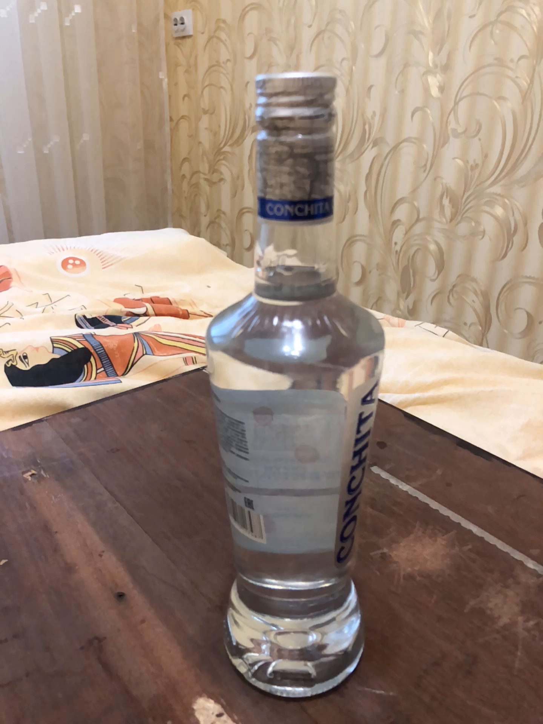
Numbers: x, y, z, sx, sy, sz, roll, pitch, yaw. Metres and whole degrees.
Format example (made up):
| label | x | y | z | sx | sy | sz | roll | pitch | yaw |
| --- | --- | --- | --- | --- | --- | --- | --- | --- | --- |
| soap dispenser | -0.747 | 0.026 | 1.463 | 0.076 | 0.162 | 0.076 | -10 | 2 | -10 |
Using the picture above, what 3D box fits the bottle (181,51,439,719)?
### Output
| label | x | y | z | sx | sy | sz | roll | pitch | yaw |
| --- | --- | --- | --- | --- | --- | --- | --- | --- | --- |
| bottle | 0.015 | 0.020 | 0.261 | 0.075 | 0.273 | 0.077 | 1 | 24 | -1 |
